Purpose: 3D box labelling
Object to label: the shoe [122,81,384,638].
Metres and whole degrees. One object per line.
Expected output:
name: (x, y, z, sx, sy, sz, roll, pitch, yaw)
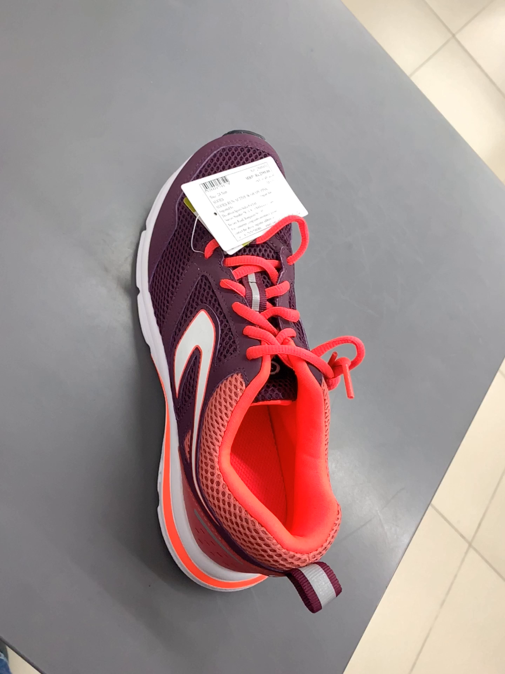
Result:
shoe: (-0.014, 0.007, 0.322, 0.110, 0.100, 0.280, 3, 73, -24)
